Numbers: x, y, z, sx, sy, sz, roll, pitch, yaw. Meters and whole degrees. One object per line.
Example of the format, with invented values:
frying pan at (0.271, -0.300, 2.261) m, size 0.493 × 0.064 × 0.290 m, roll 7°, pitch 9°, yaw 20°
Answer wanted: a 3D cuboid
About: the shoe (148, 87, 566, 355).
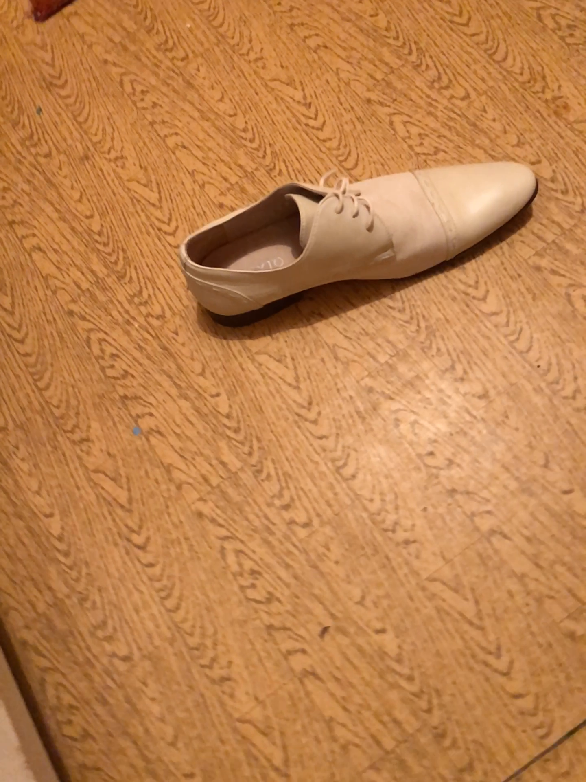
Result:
shoe at (0.049, -0.137, 0.552) m, size 0.310 × 0.100 × 0.100 m, roll -16°, pitch 71°, yaw 4°
